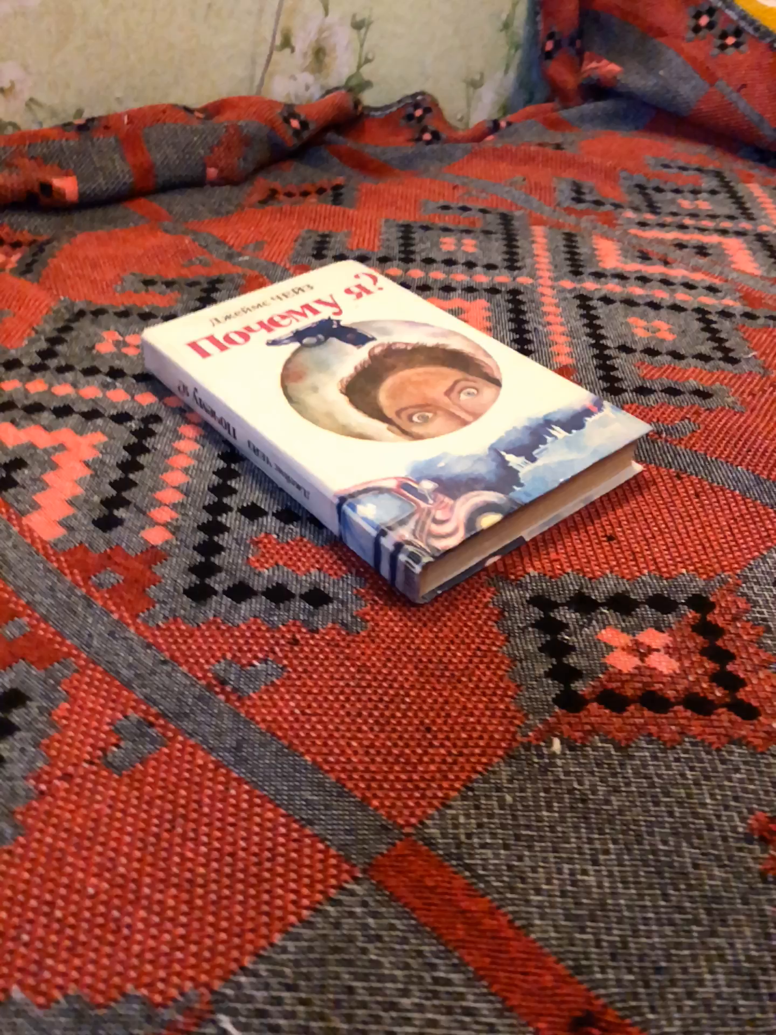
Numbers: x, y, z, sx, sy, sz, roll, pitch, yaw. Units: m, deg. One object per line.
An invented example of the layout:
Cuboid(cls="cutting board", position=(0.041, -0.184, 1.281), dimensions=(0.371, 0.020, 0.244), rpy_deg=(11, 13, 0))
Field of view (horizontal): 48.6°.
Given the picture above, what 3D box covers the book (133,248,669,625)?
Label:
Cuboid(cls="book", position=(-0.002, -0.054, 0.385), dimensions=(0.134, 0.029, 0.204), rpy_deg=(-29, 50, -30))
